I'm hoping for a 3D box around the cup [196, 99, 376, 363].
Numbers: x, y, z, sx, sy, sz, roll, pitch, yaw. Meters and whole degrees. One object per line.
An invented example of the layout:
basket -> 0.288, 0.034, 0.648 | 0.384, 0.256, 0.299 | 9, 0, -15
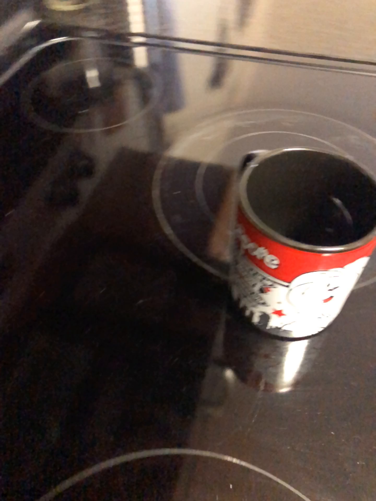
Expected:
cup -> 0.062, -0.016, 0.268 | 0.090, 0.090, 0.130 | -9, 51, -6
